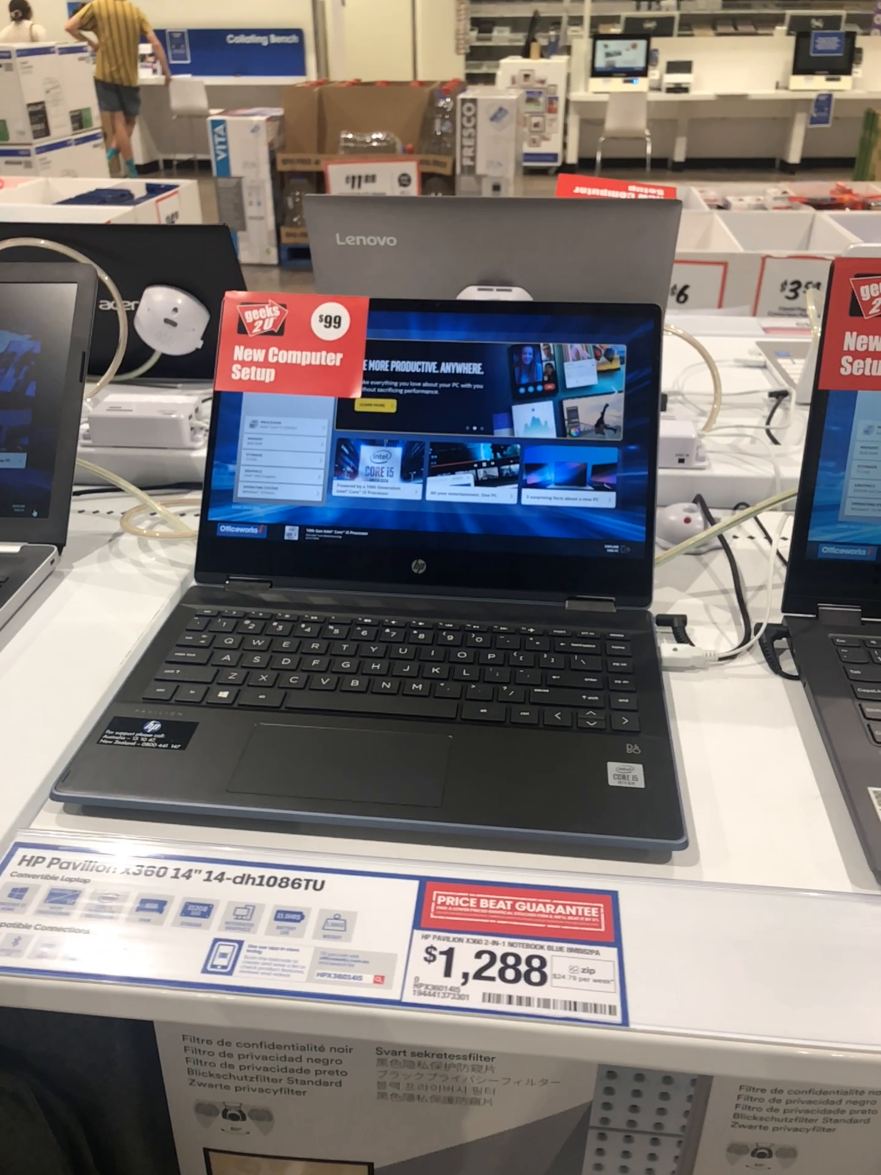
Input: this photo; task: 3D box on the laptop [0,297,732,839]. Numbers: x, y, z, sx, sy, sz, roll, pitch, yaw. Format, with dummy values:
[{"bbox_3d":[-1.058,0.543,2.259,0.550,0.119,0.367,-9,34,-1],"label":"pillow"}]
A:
[{"bbox_3d":[-0.021,-0.046,0.588,0.315,0.165,0.350,3,30,6],"label":"laptop"}]
